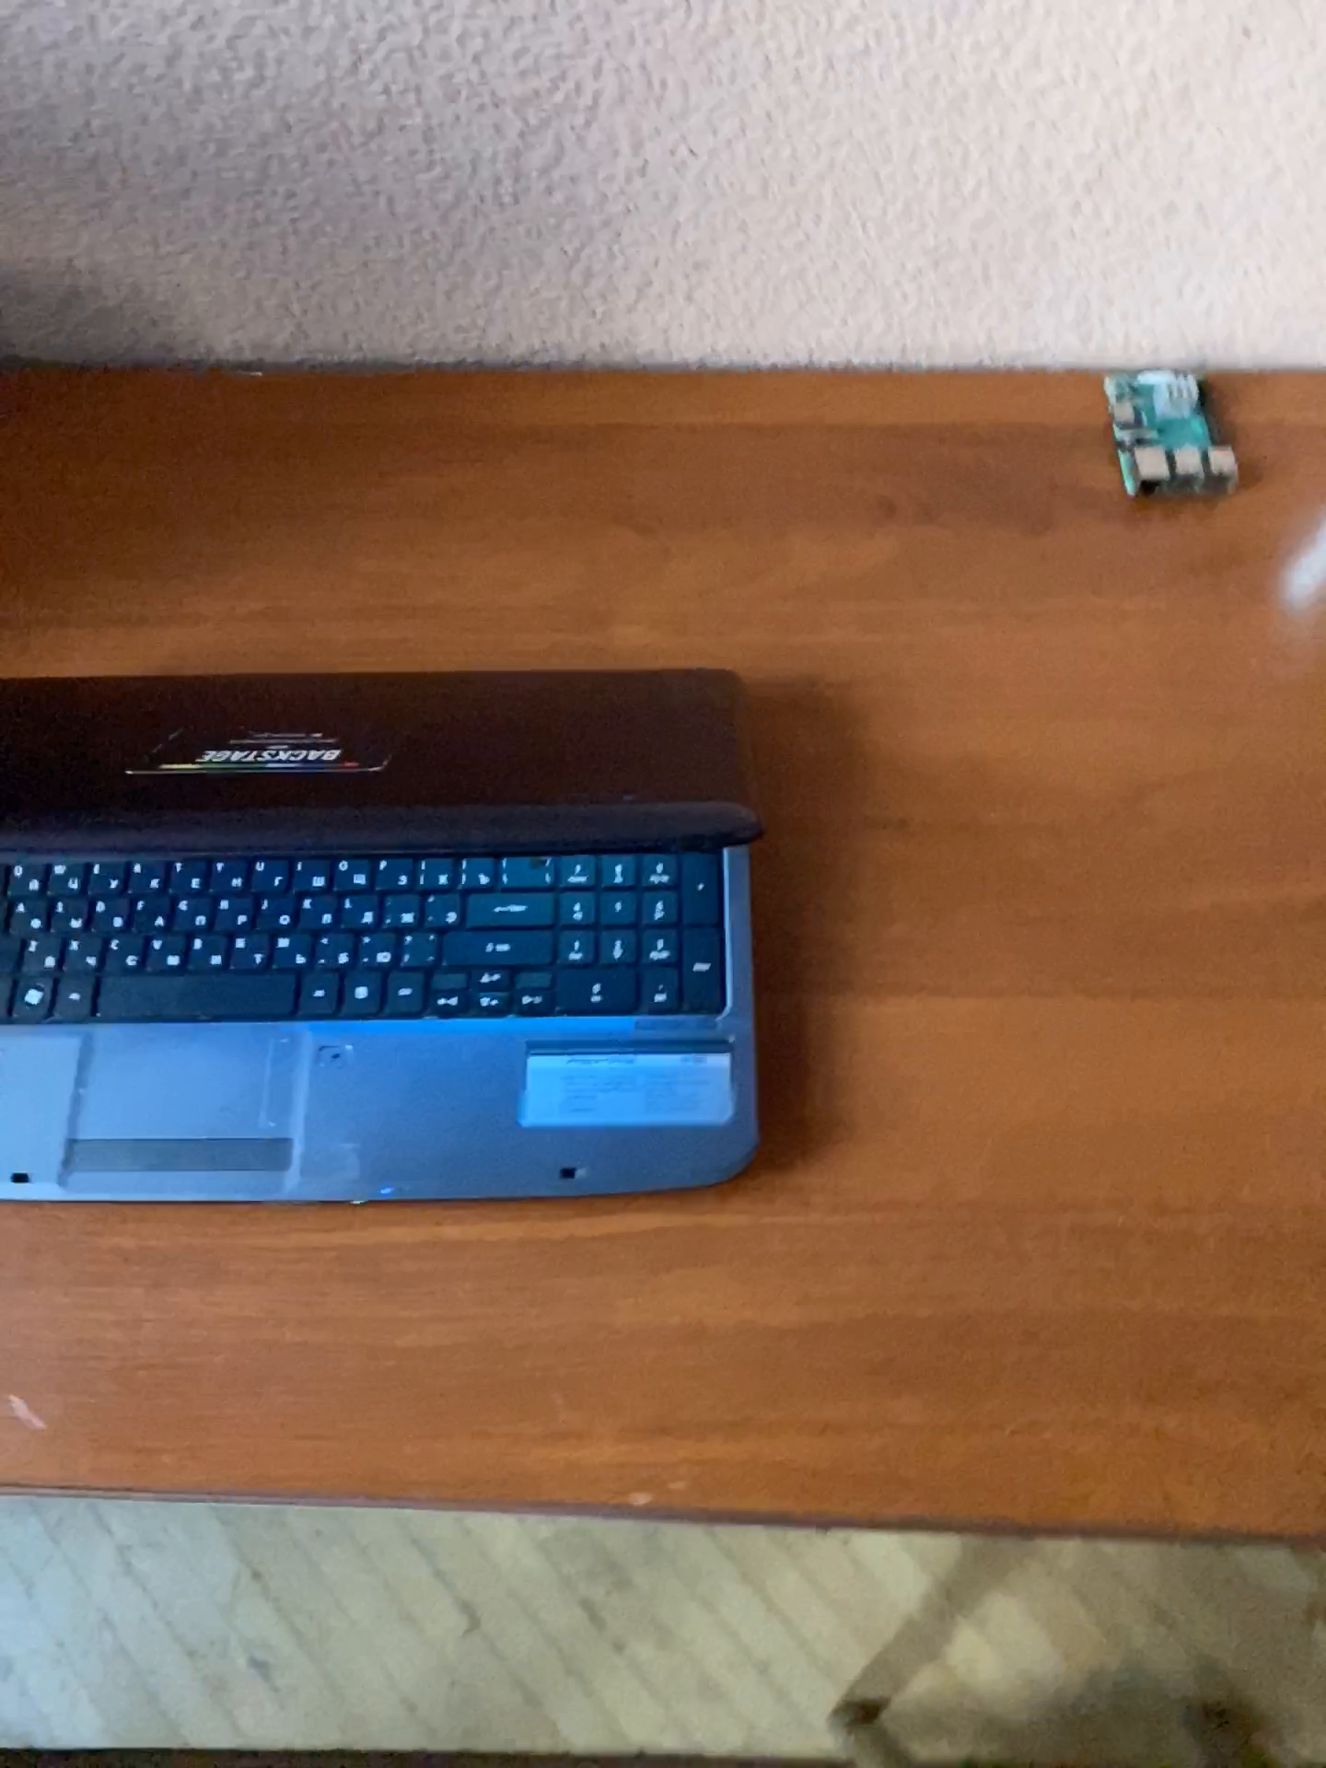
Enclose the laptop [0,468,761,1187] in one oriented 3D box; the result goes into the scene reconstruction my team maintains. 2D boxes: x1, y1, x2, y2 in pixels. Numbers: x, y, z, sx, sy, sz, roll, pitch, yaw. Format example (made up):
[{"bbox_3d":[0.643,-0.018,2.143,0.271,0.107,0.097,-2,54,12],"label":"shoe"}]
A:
[{"bbox_3d":[-0.156,-0.015,0.559,0.380,0.163,0.241,-1,65,2],"label":"laptop"}]
